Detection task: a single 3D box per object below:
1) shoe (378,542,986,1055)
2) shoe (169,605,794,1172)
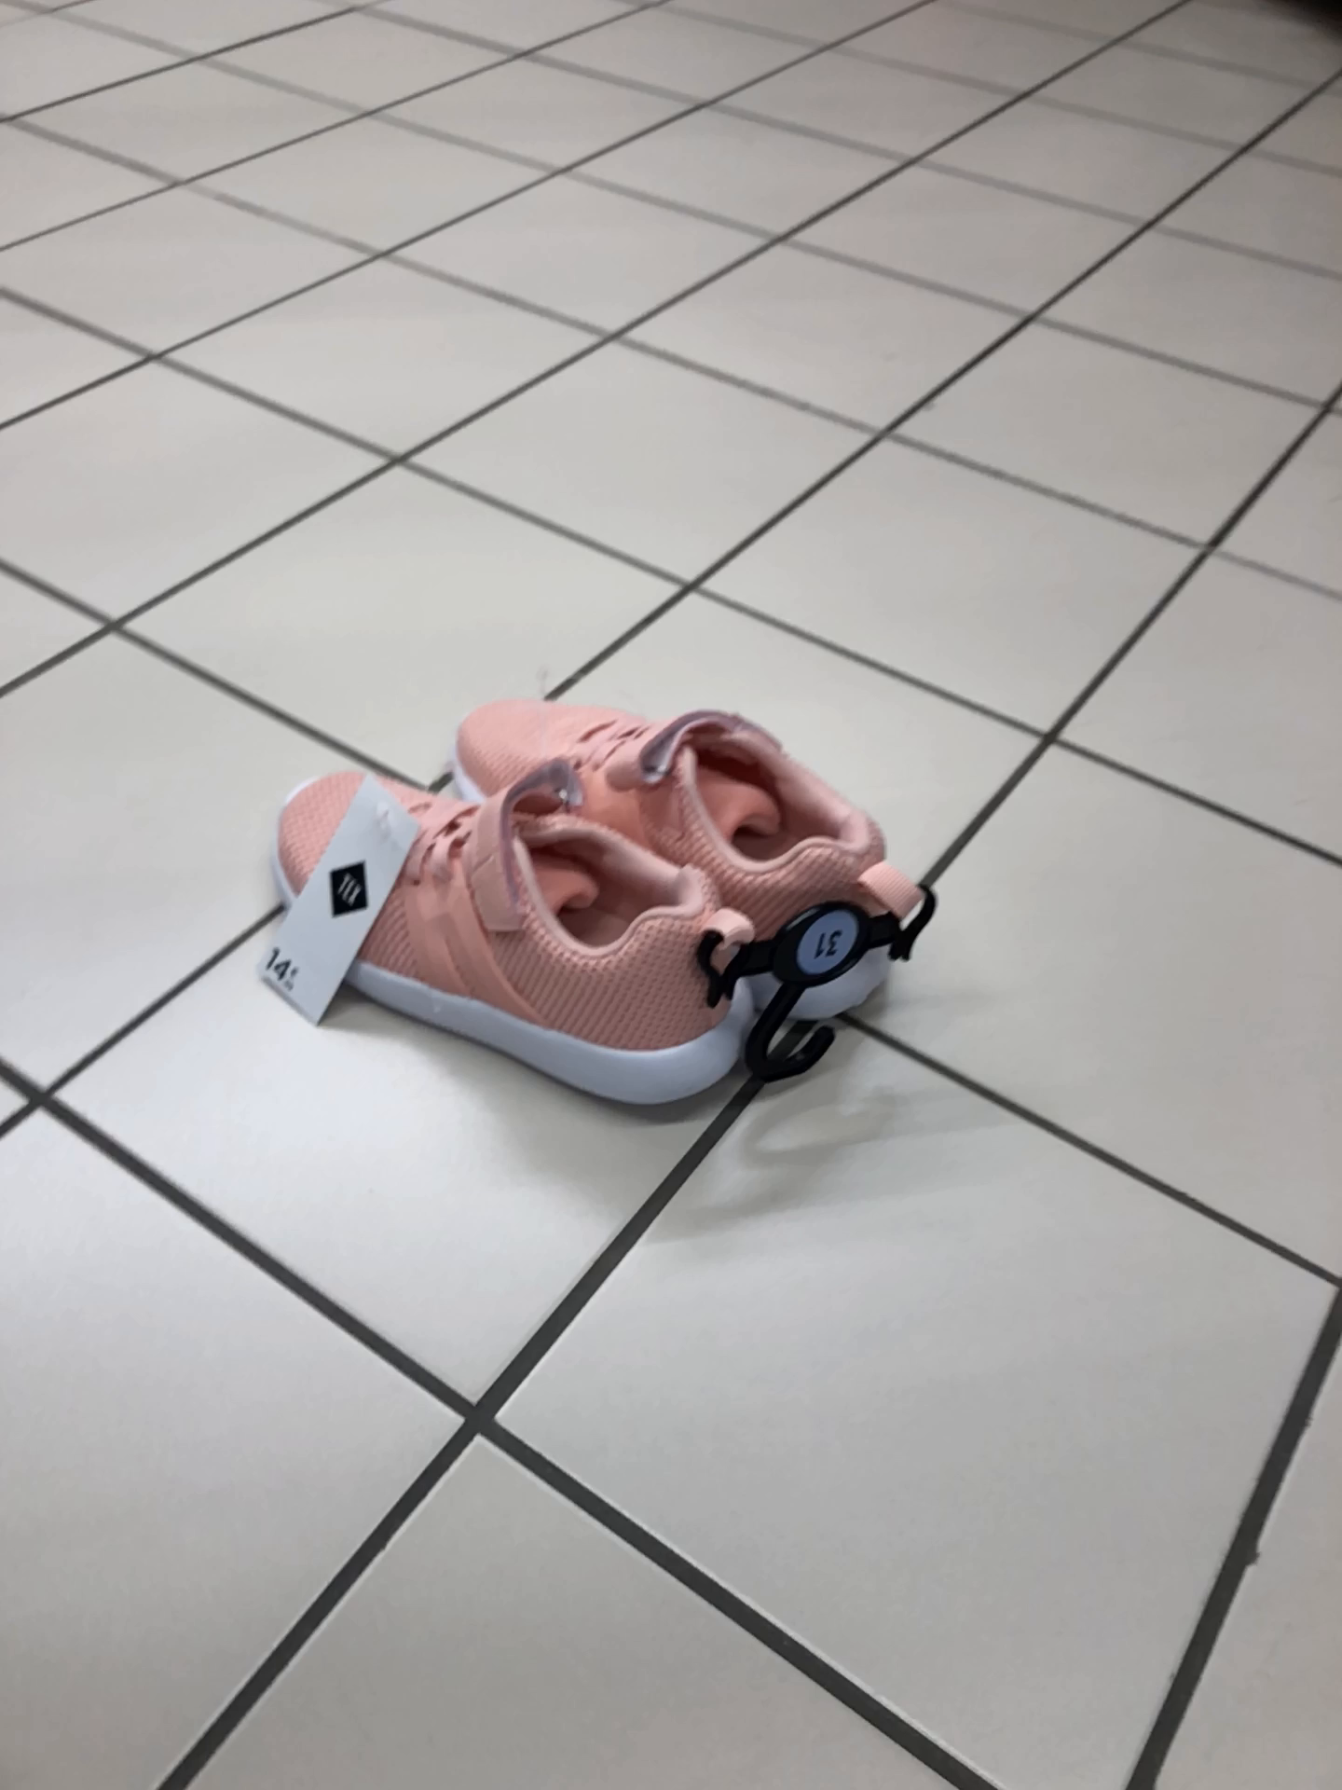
[{"bbox_3d":[-0.001,-0.042,0.562,0.210,0.091,0.080,27,50,23],"label":"shoe"},{"bbox_3d":[-0.068,-0.009,0.525,0.203,0.093,0.083,29,51,24],"label":"shoe"}]
